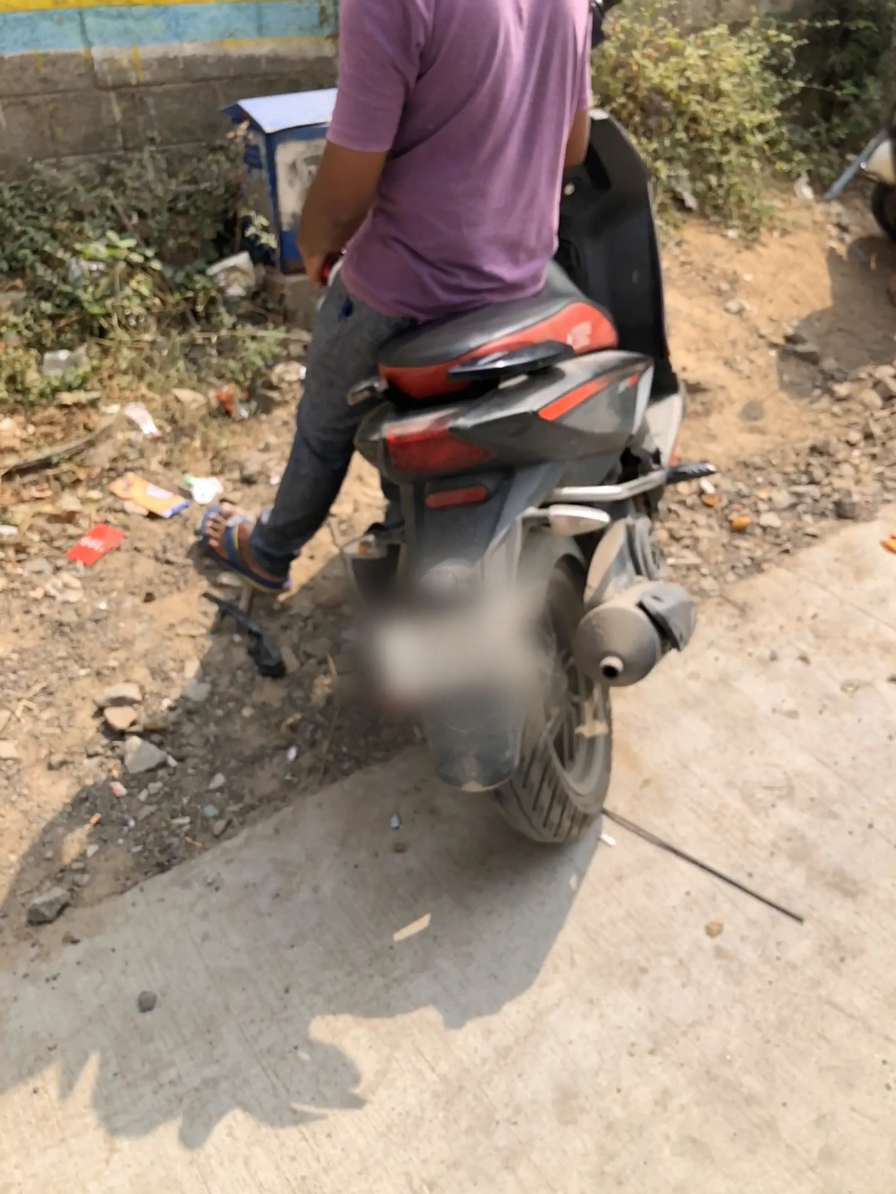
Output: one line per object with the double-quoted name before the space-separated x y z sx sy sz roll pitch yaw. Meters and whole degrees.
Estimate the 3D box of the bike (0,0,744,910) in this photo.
"bike" -0.054 -0.572 1.985 0.717 1.199 1.776 2 38 2
